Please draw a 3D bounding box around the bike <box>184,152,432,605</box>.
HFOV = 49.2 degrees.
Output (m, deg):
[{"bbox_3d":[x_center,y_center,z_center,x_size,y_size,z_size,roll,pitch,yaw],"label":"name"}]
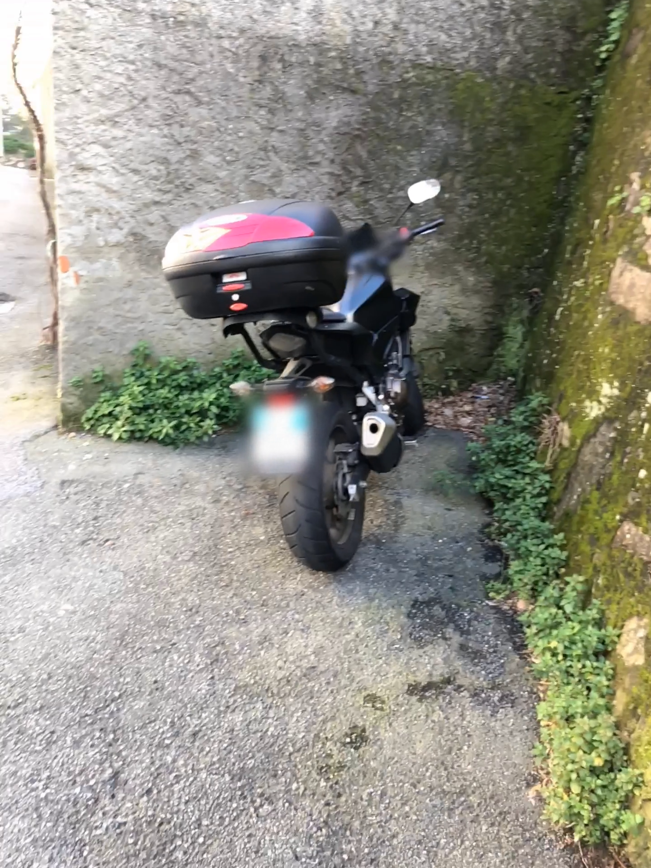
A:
[{"bbox_3d":[-0.018,-0.458,3.059,0.711,1.198,1.793,6,24,4],"label":"bike"}]
